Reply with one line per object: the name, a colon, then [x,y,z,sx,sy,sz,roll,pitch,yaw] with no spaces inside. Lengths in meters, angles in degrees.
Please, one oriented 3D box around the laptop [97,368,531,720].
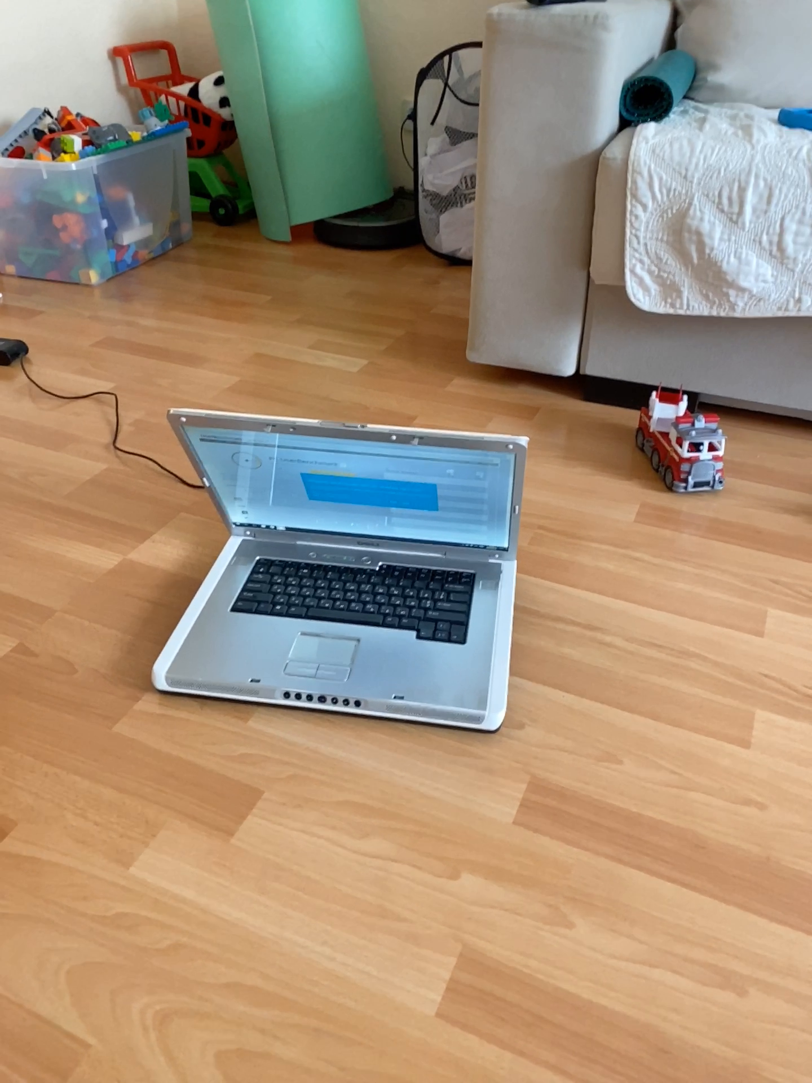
laptop: [-0.071,-0.012,0.906,0.386,0.238,0.275,5,34,7]
